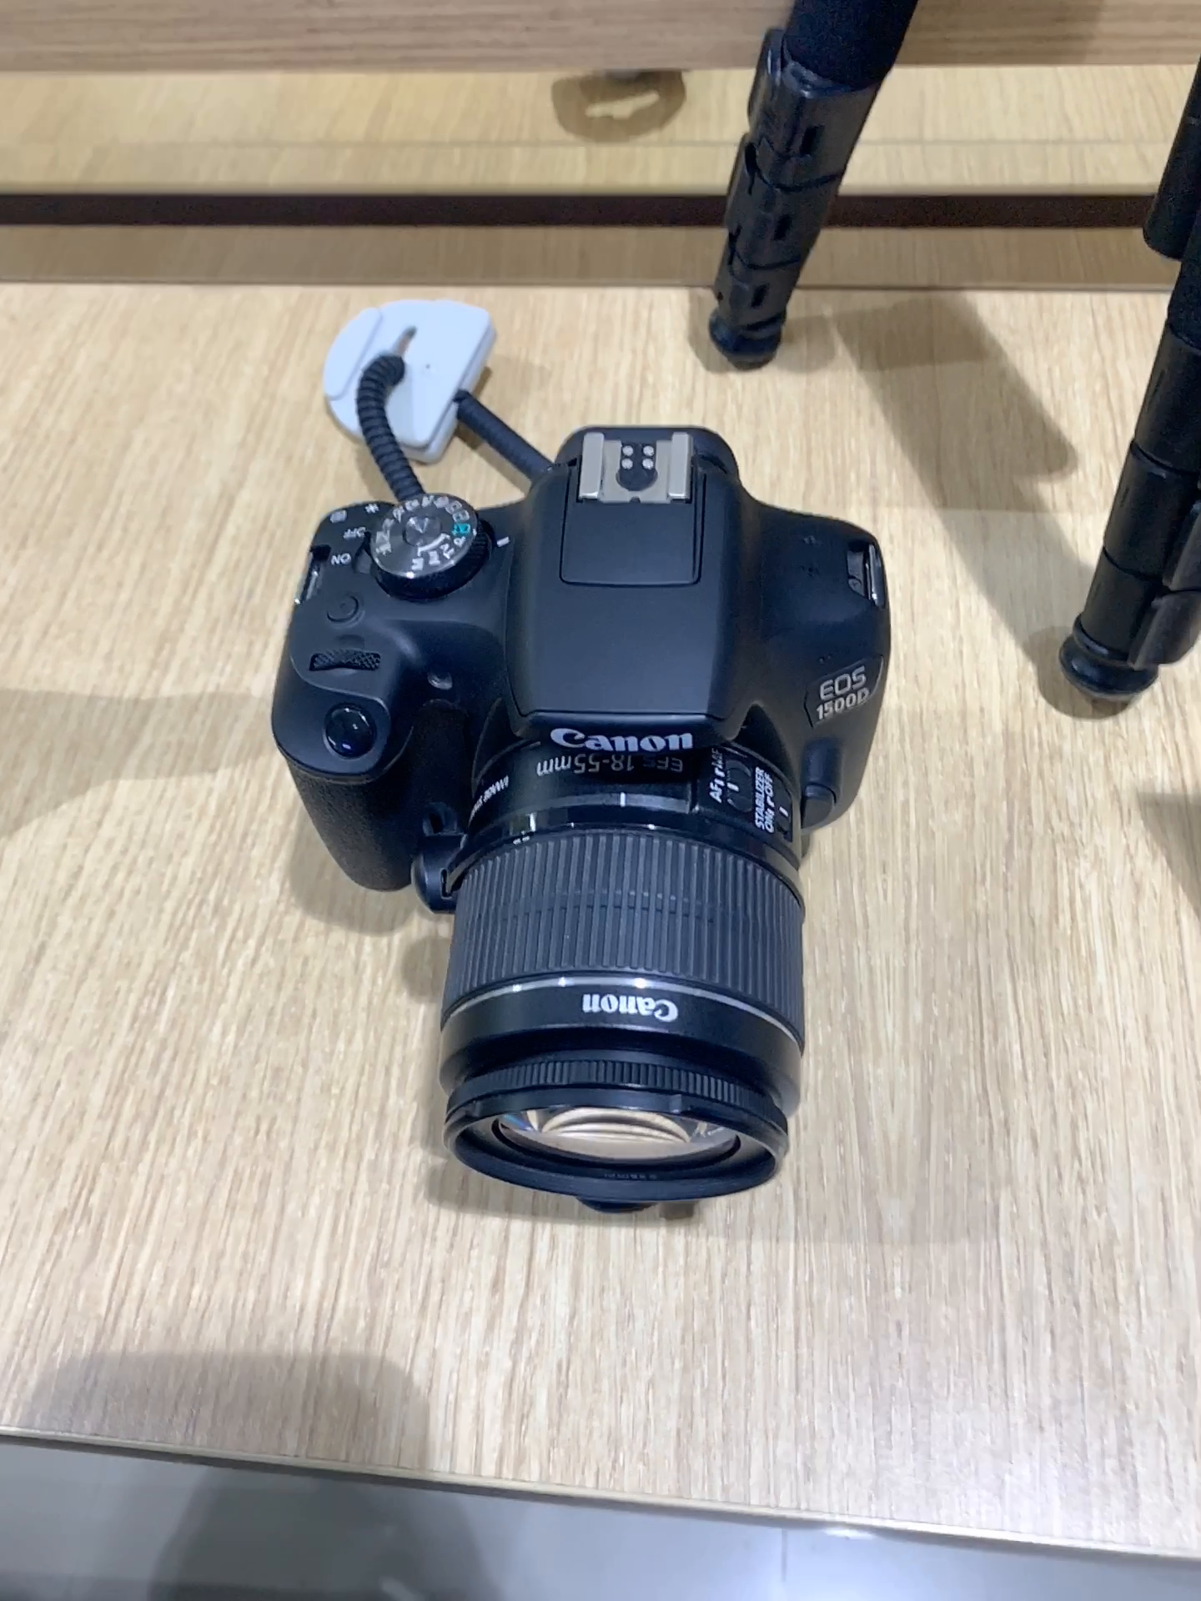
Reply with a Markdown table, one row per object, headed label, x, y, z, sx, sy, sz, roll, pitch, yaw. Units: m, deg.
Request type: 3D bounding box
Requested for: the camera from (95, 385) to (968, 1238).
| label | x | y | z | sx | sy | sz | roll | pitch | yaw |
| --- | --- | --- | --- | --- | --- | --- | --- | --- | --- |
| camera | -0.004 | 0.000 | 0.246 | 0.121 | 0.088 | 0.140 | 1 | 57 | 5 |
